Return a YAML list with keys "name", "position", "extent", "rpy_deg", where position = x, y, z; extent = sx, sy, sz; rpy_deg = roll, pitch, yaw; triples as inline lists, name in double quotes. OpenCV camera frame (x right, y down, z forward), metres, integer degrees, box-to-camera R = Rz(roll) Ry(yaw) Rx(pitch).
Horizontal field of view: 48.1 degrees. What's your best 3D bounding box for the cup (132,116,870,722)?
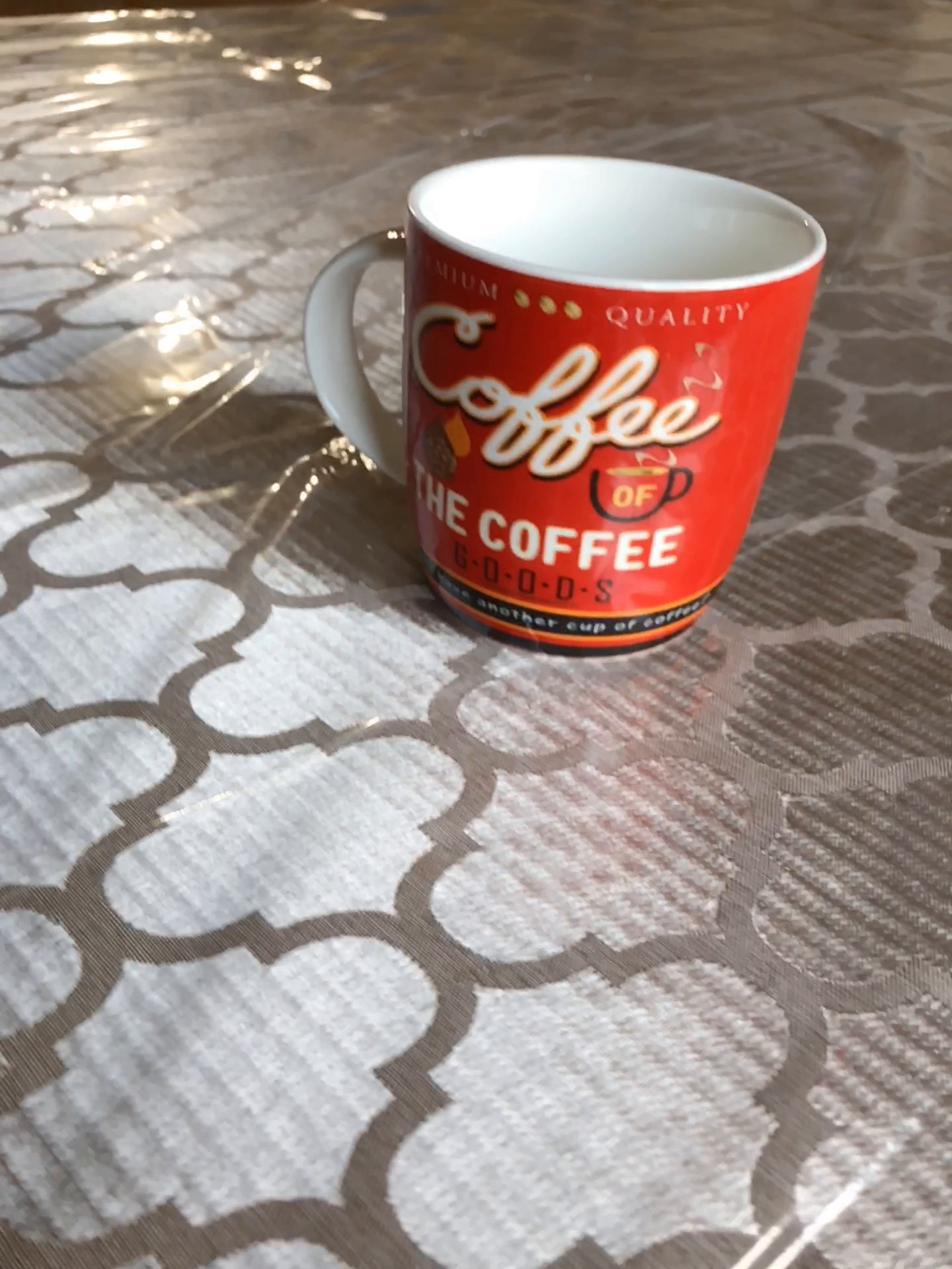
- name: "cup"
  position: [0.013, -0.064, 0.261]
  extent: [0.130, 0.080, 0.121]
  rpy_deg: [3, 37, -2]
